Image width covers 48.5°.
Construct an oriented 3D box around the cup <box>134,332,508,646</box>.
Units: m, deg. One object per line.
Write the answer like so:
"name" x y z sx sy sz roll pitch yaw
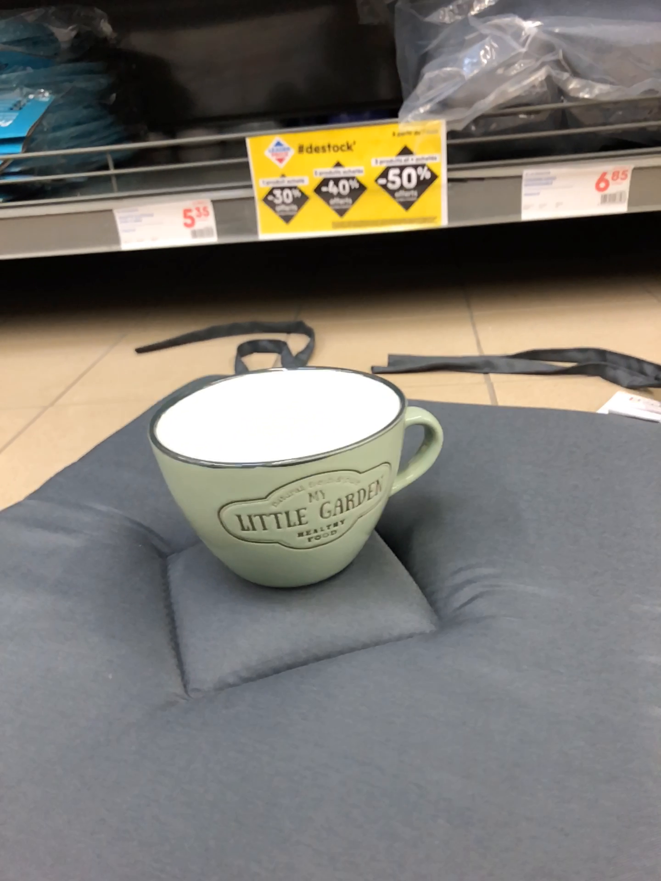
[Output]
"cup" -0.010 0.011 0.344 0.140 0.070 0.120 -13 27 -14
